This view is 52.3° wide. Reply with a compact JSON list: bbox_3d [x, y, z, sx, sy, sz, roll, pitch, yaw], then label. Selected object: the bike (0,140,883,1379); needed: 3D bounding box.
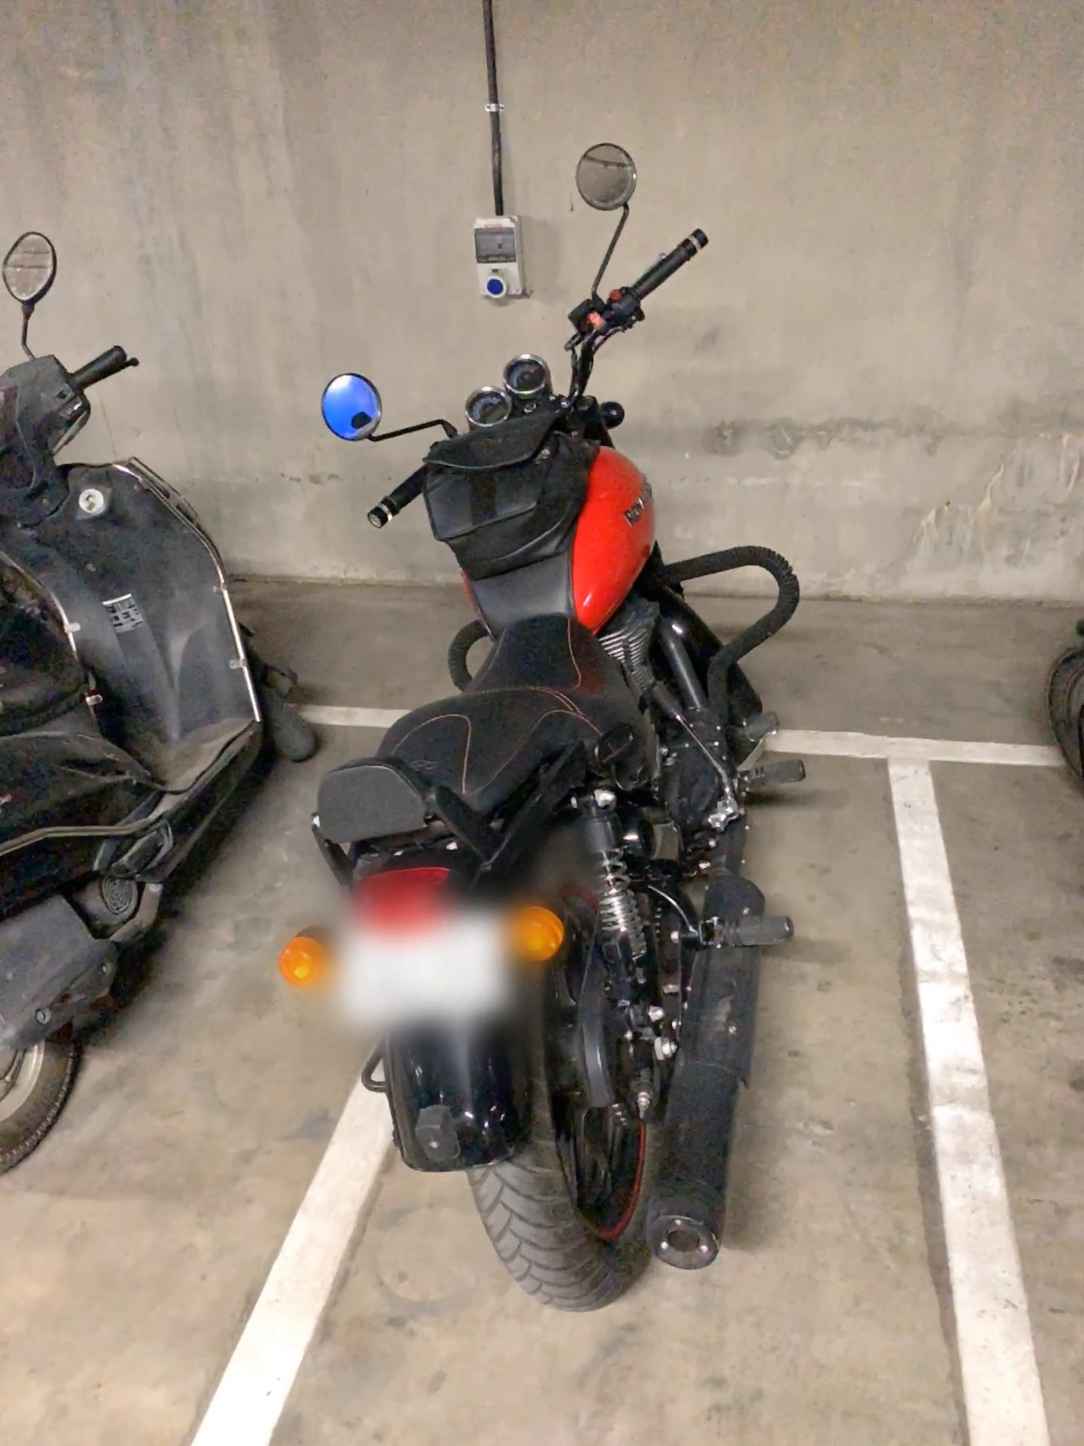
[{"bbox_3d":[-0.101,-0.194,1.991,0.828,1.302,1.844,-2,32,3],"label":"bike"}]
